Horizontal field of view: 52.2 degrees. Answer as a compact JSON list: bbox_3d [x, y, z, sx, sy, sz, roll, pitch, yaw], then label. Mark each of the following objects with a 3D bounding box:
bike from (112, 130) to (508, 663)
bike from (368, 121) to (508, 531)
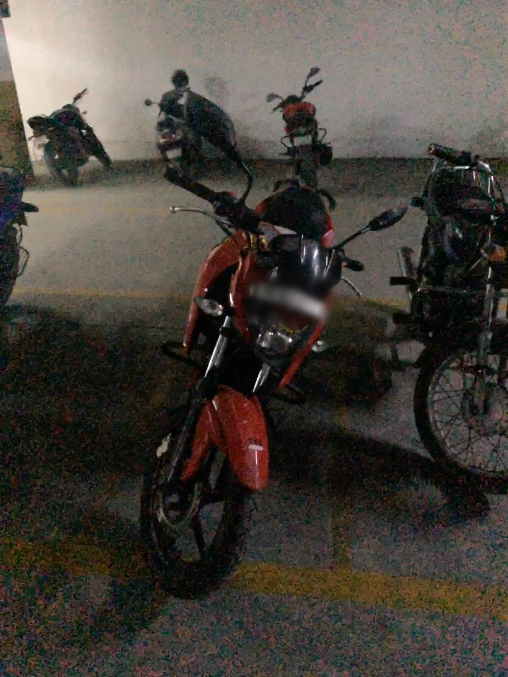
[{"bbox_3d":[0.180,-0.059,1.915,0.801,1.006,1.702,1,31,4],"label":"bike"},{"bbox_3d":[0.938,-0.250,2.071,0.673,0.934,1.574,1,29,4],"label":"bike"}]
